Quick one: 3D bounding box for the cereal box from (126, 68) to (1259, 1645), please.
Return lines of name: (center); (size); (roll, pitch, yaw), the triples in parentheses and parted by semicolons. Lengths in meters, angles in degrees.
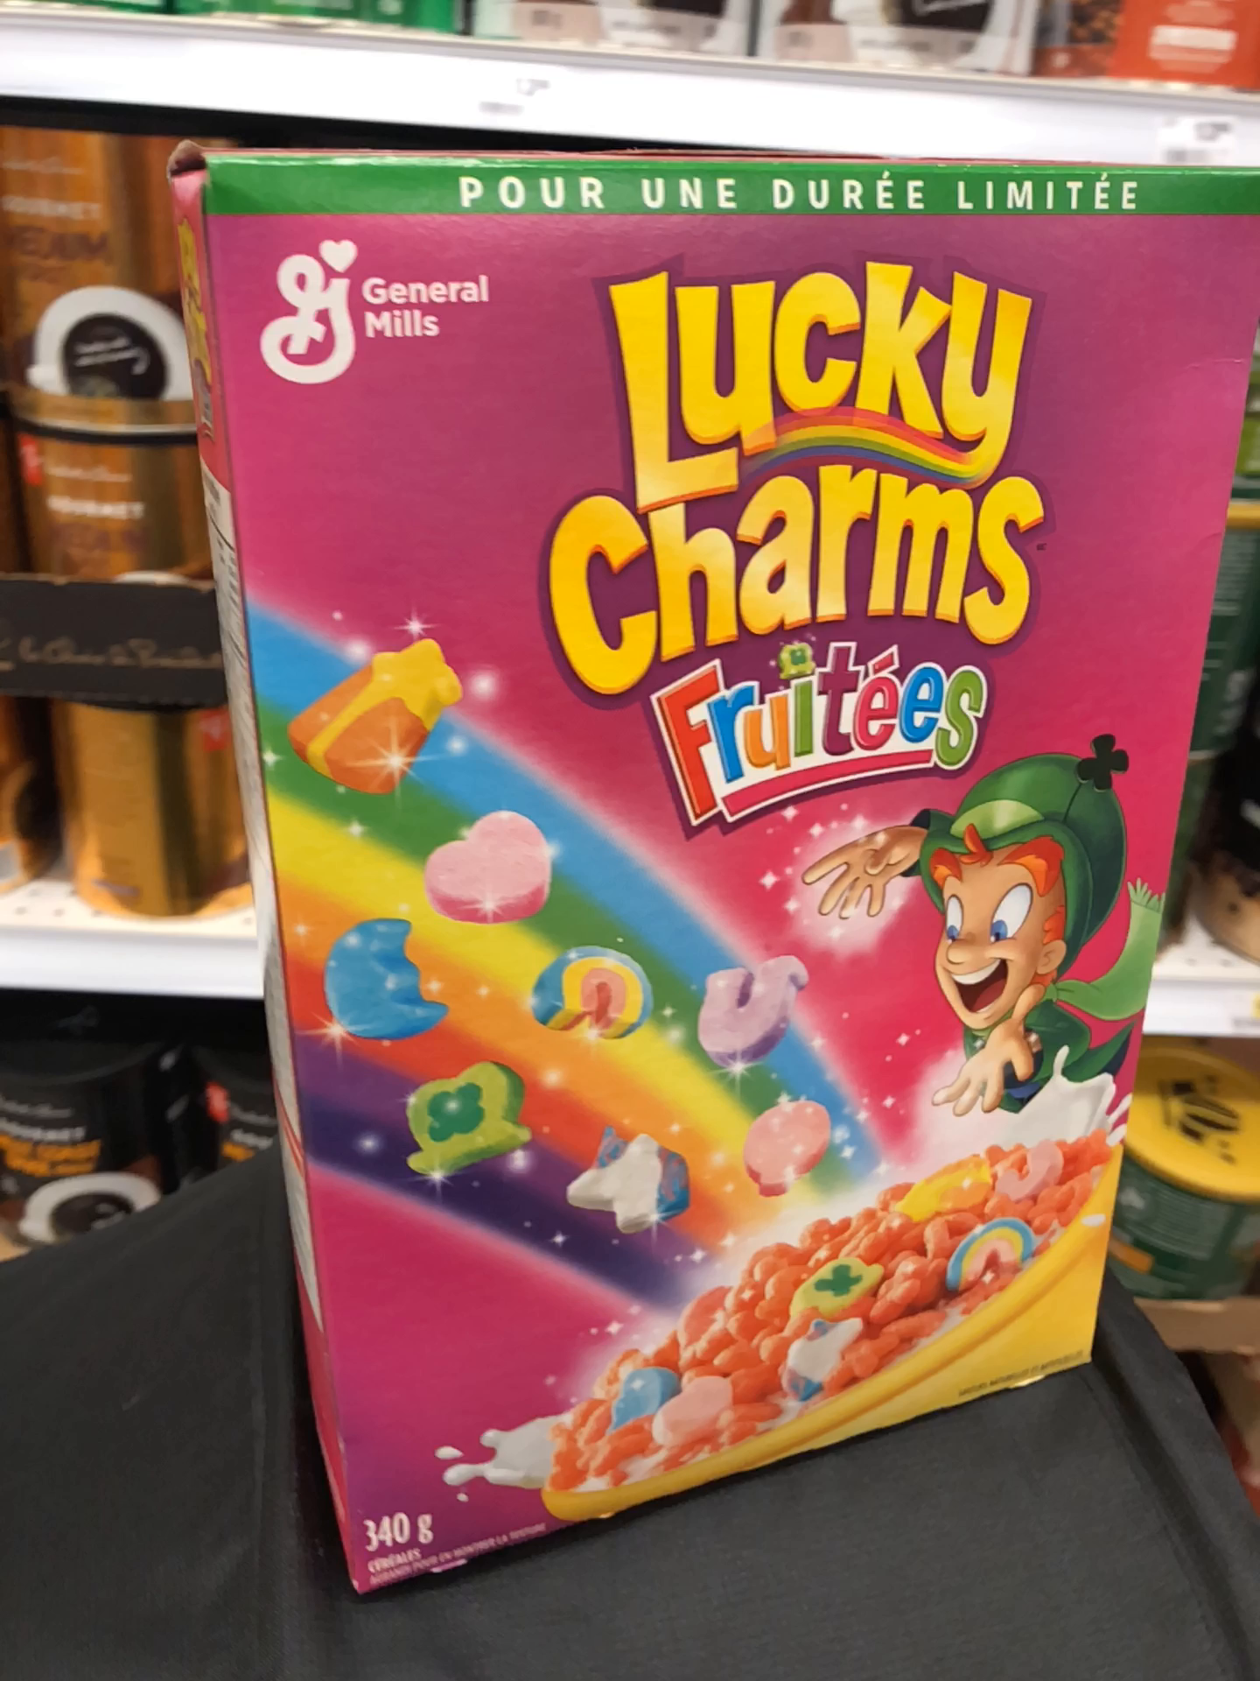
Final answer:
cereal box: (0.015, 0.011, 0.307); (0.200, 0.299, 0.060); (-8, 25, -21)
